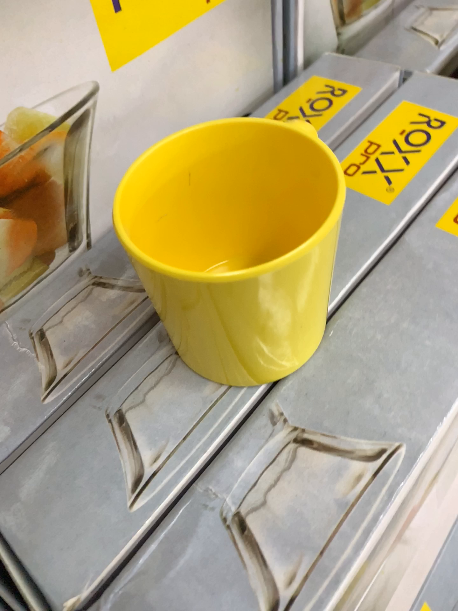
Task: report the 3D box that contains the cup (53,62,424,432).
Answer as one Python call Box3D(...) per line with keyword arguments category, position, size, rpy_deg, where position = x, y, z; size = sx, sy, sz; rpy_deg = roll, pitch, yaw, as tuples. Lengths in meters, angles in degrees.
Box3D(category="cup", position=(0.009, -0.025, 0.174), size=(0.072, 0.069, 0.096), rpy_deg=(27, 59, 25))
